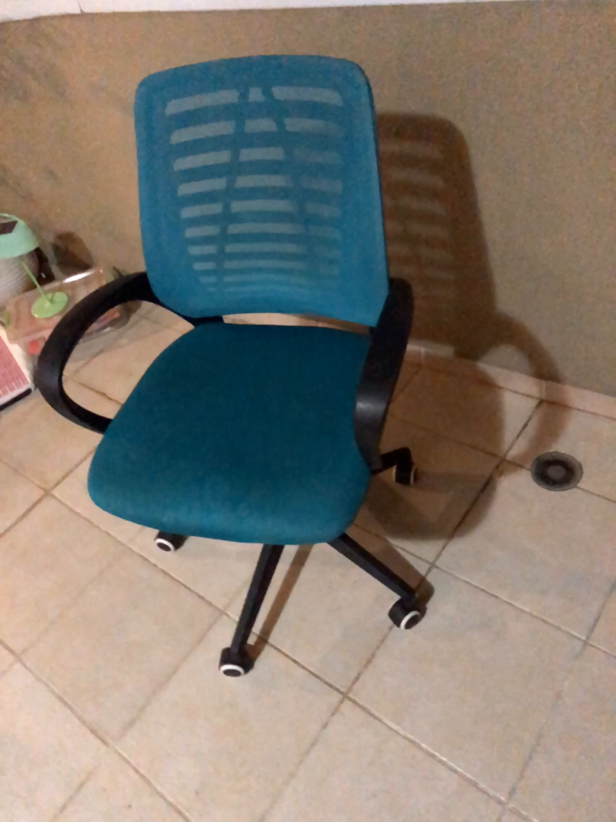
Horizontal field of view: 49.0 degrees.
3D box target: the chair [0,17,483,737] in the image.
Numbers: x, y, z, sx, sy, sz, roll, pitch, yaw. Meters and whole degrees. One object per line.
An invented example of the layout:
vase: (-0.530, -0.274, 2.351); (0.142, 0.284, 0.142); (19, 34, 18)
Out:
chair: (-0.112, -0.038, 1.240); (0.711, 0.923, 0.744); (6, 49, 22)
